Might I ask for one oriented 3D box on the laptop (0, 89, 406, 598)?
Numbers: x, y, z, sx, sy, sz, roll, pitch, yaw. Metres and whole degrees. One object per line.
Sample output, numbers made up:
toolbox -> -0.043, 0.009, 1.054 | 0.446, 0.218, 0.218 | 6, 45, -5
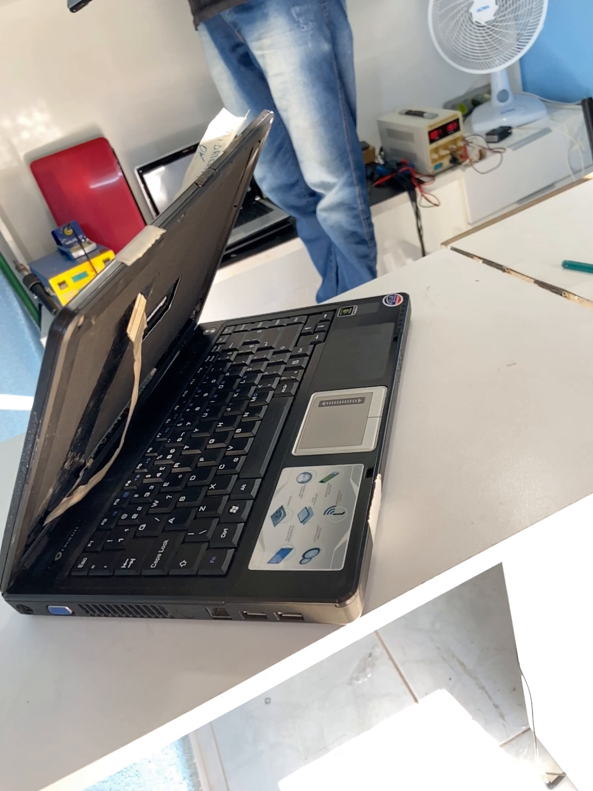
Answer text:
laptop -> -0.066, -0.055, 0.427 | 0.224, 0.175, 0.330 | -7, 34, 21
